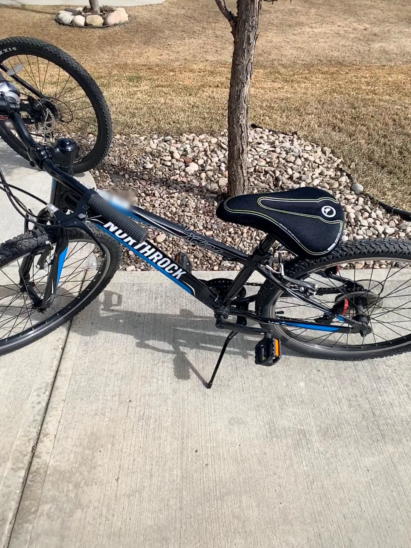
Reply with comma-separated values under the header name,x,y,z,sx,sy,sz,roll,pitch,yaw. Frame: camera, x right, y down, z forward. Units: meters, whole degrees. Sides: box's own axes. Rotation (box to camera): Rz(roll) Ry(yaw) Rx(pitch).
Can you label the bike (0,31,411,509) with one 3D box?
name,x,y,z,sx,sy,sz,roll,pitch,yaw
bike,-0.040,0.068,1.017,1.389,0.885,0.517,-5,40,3
